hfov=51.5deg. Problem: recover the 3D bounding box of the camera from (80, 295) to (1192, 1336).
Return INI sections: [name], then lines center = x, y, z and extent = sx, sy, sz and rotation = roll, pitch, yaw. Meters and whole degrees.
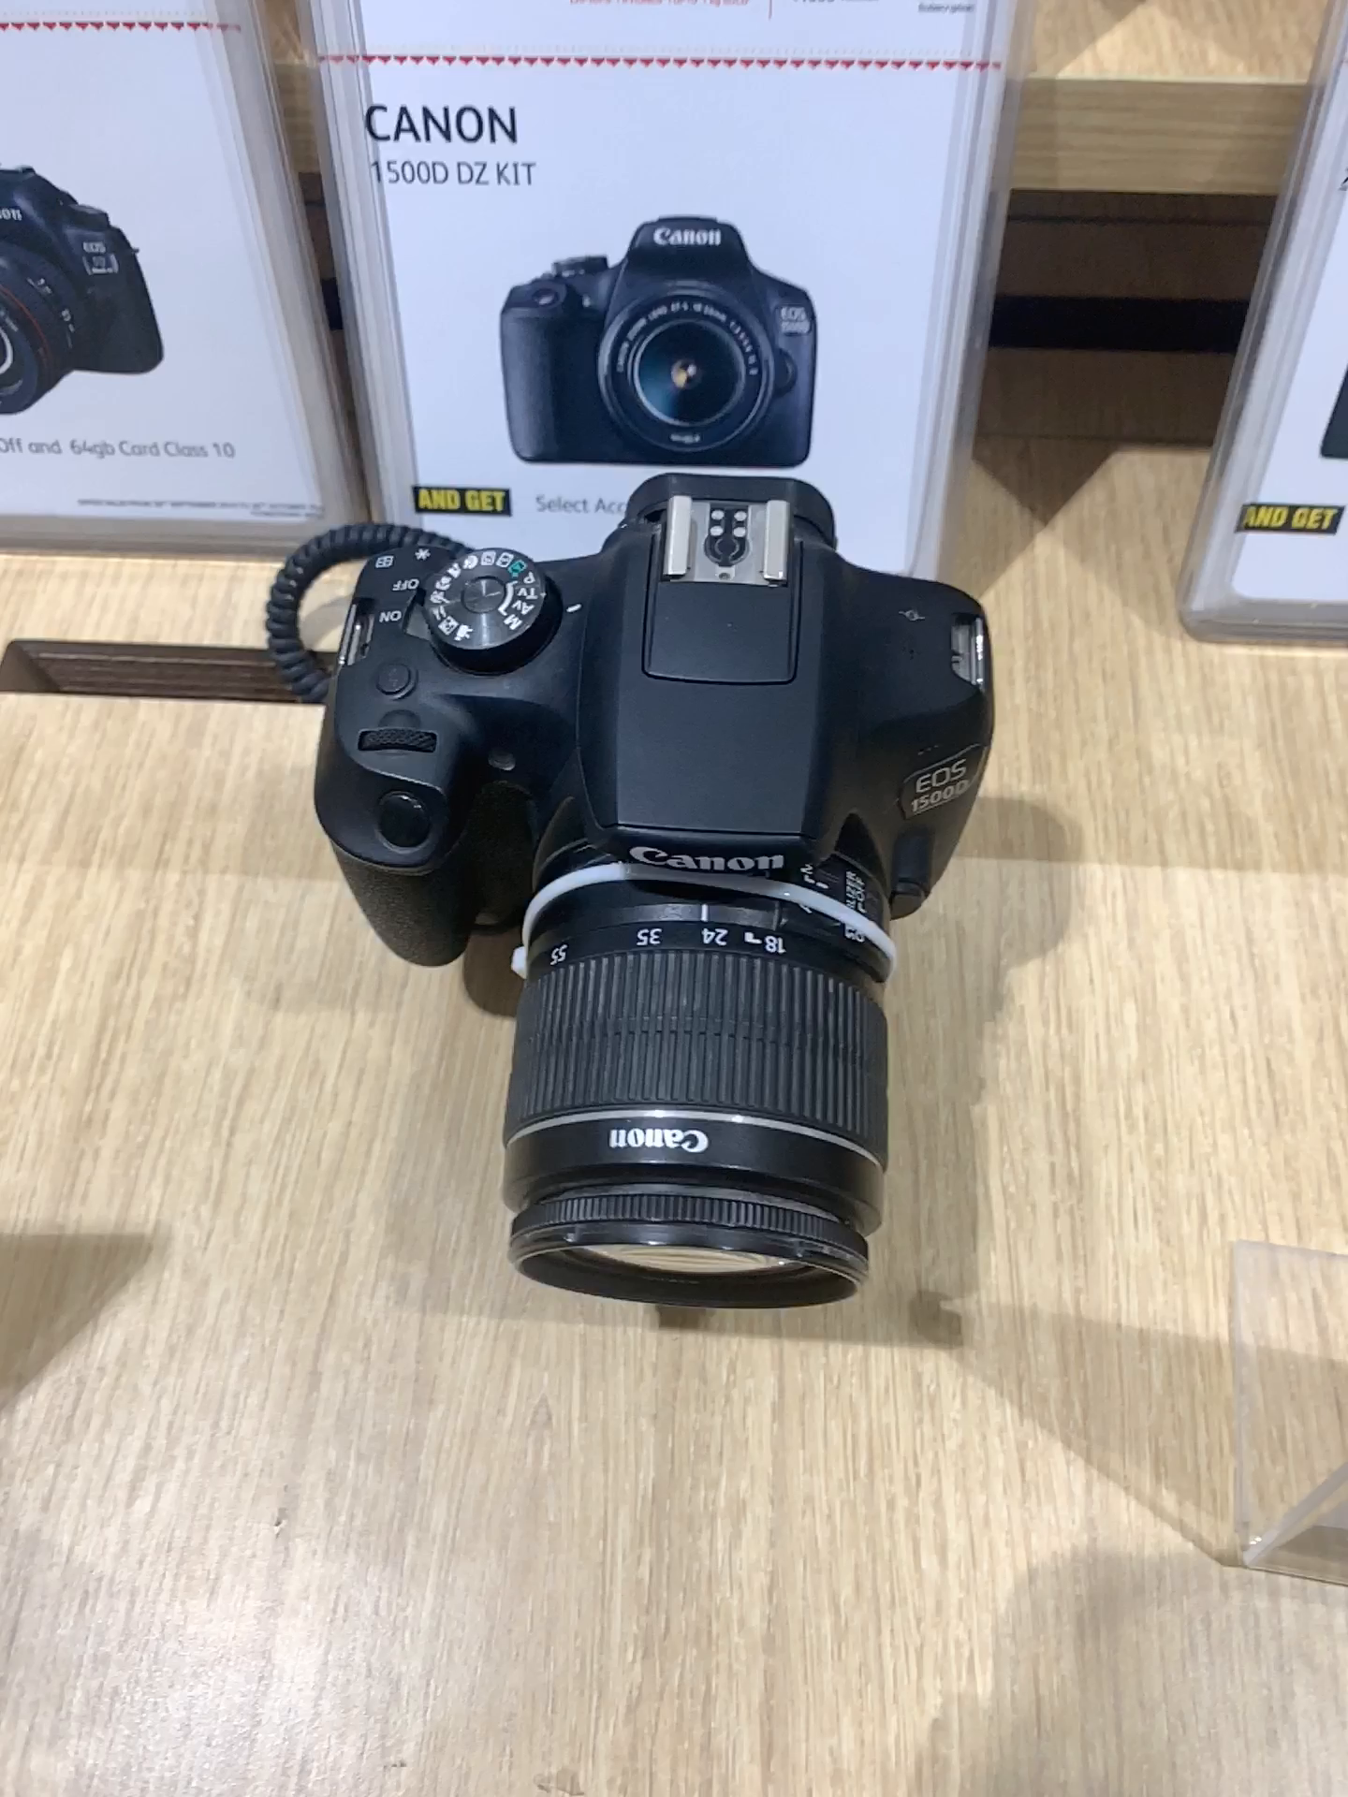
[camera]
center = -0.001, -0.014, 0.257
extent = 0.140, 0.100, 0.160
rotation = 1, 62, 3
